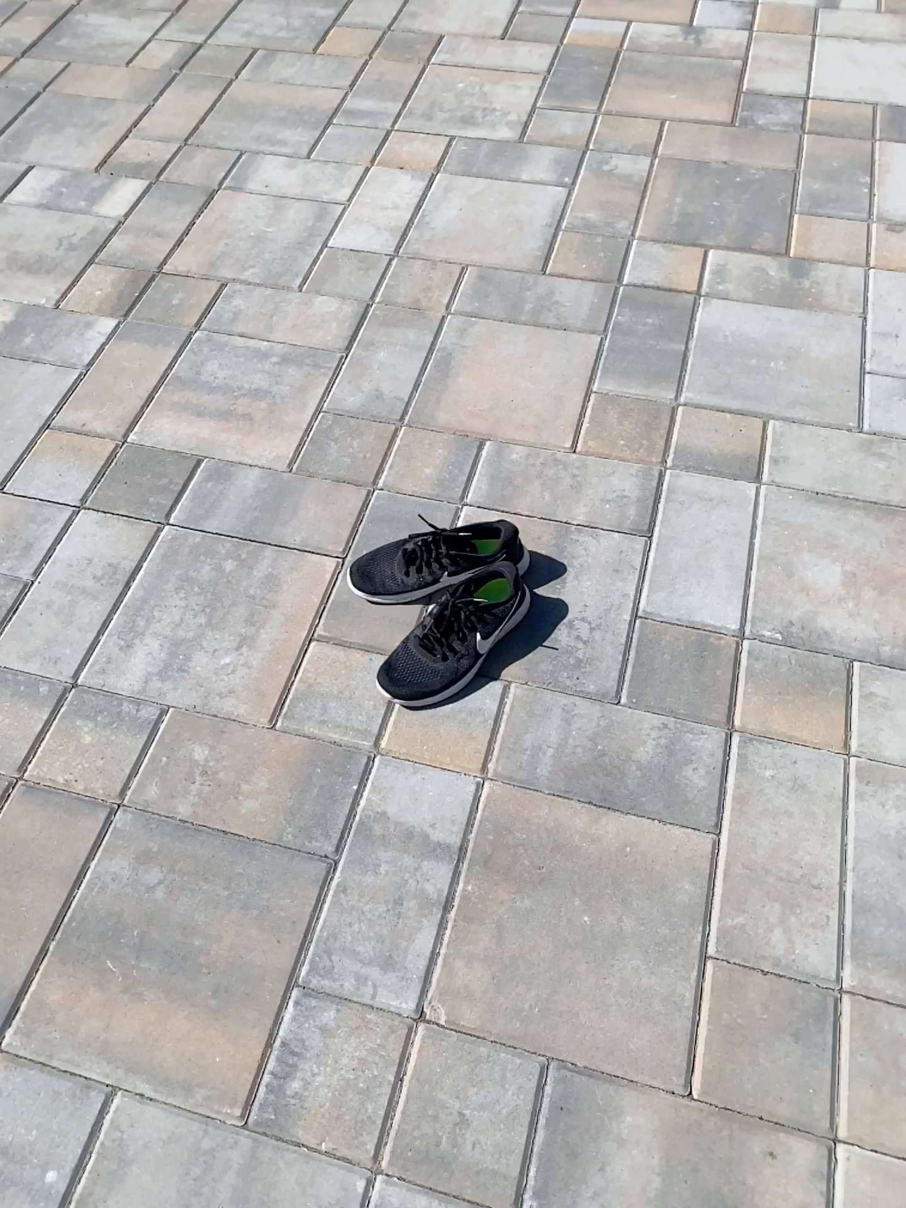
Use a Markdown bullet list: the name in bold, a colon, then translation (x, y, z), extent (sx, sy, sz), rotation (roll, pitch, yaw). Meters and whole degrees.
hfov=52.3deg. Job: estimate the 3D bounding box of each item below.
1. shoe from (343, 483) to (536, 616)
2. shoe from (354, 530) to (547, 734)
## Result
- **shoe**: translation (-0.019, -0.077, 1.309), extent (0.250, 0.100, 0.110), rotation (-10, 55, -4)
- **shoe**: translation (0.002, 0.035, 1.250), extent (0.110, 0.110, 0.250), rotation (37, 64, 25)
